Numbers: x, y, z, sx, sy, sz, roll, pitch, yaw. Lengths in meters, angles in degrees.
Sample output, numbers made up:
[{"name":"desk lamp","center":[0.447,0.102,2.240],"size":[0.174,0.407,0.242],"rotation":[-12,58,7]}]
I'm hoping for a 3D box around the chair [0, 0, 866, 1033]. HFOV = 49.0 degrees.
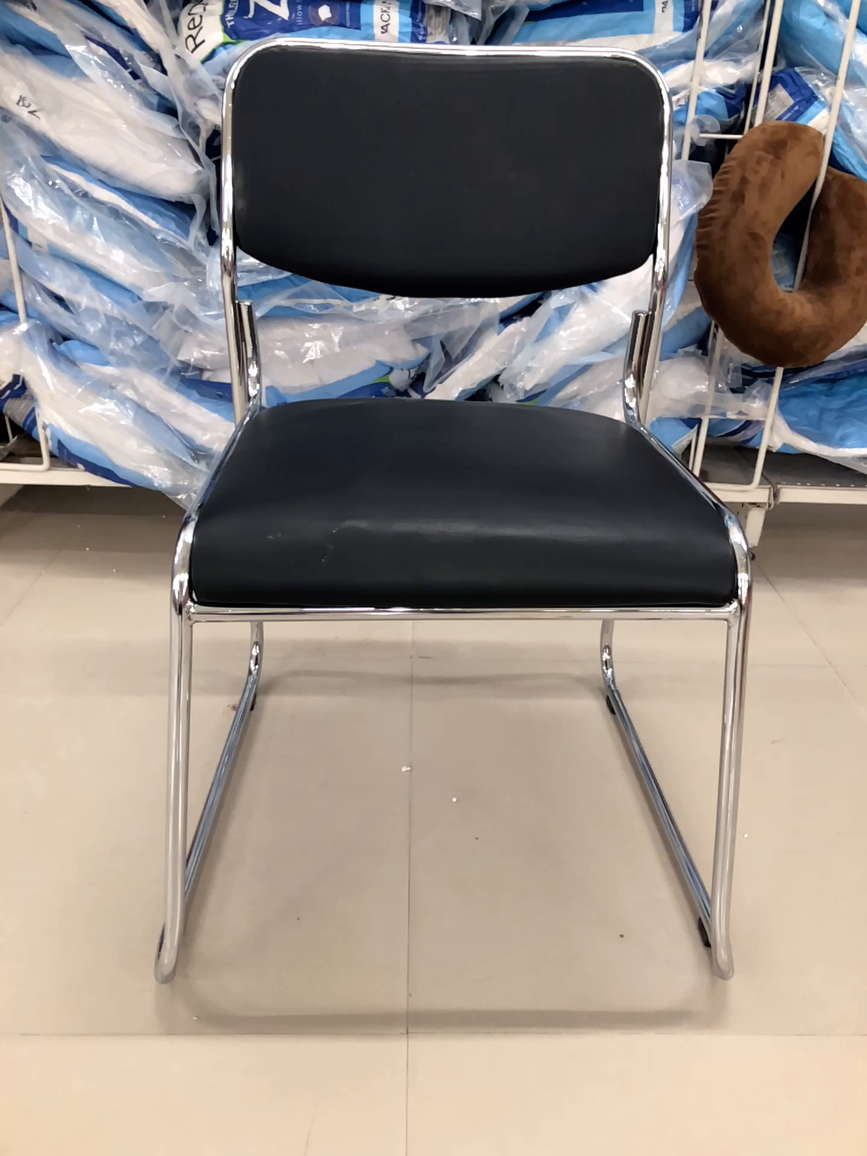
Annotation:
[{"name":"chair","center":[0.029,-0.124,0.849],"size":[0.570,0.795,0.563],"rotation":[2,25,-1]}]
